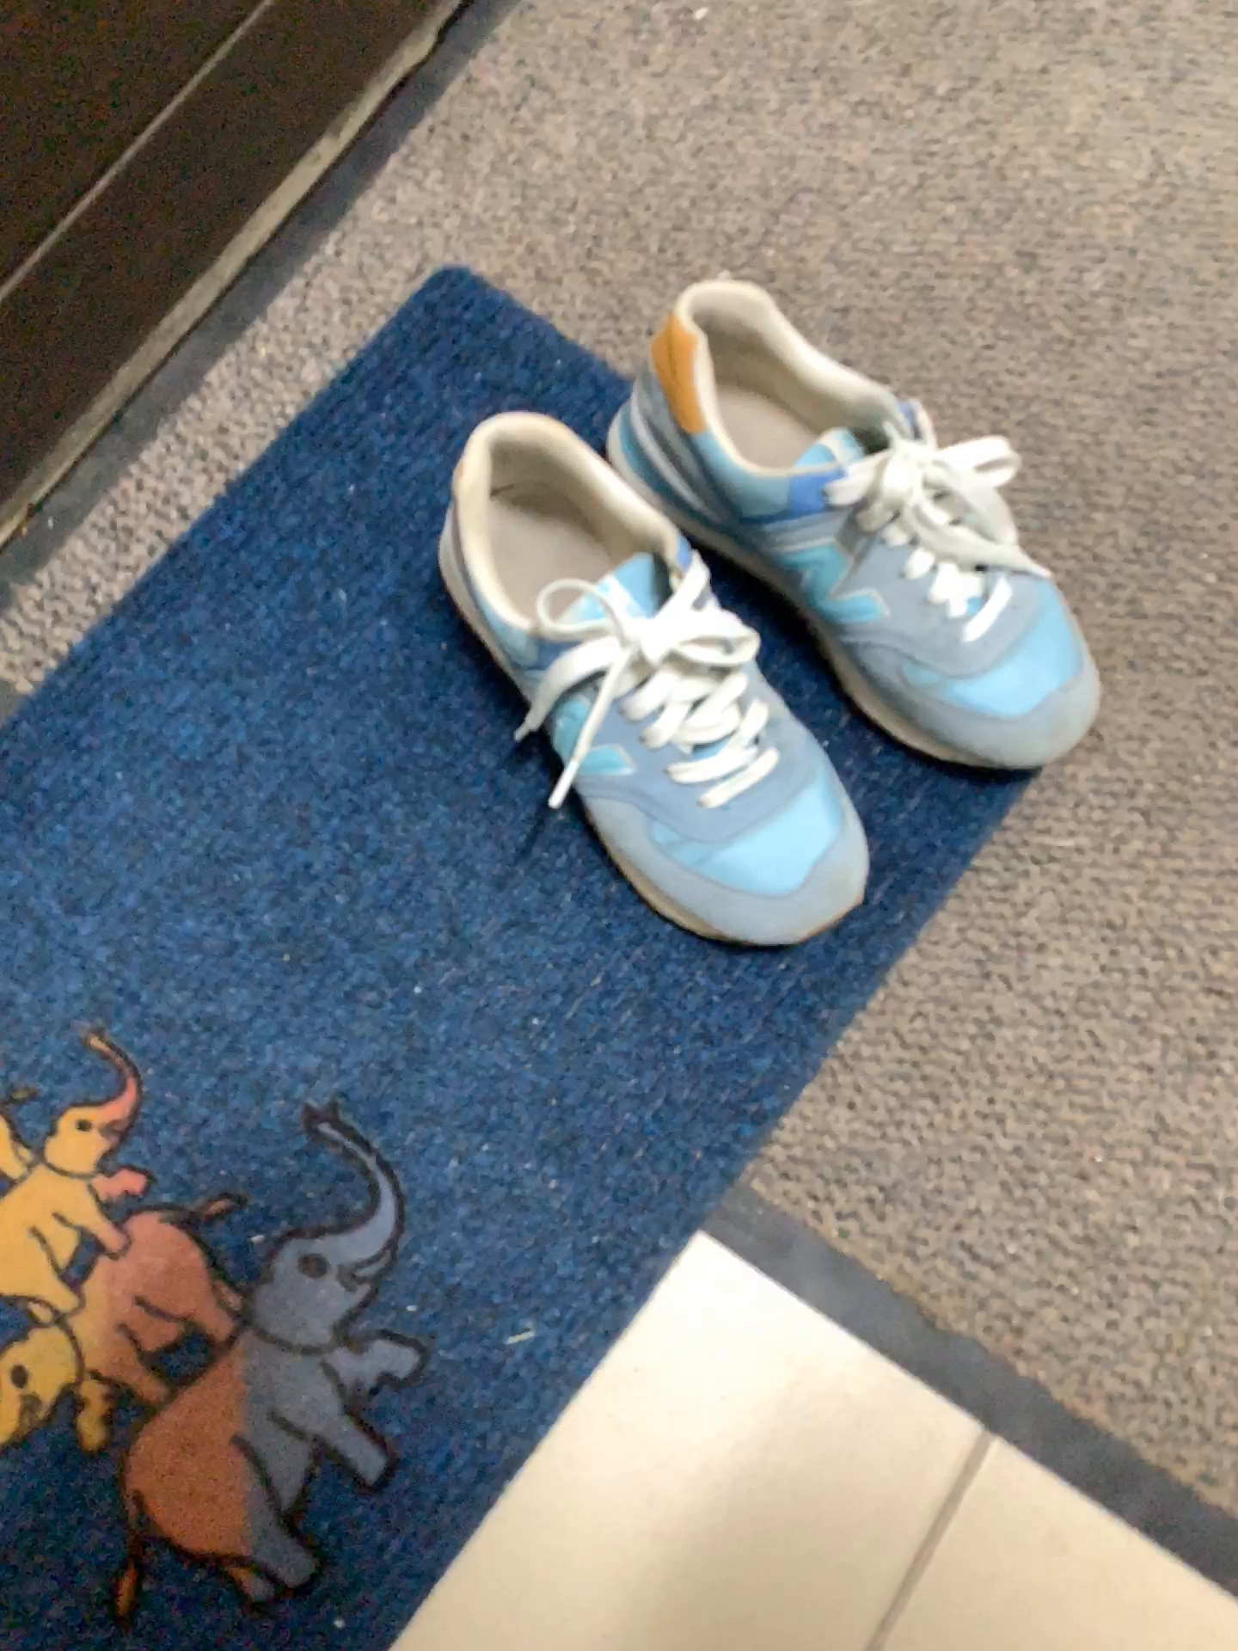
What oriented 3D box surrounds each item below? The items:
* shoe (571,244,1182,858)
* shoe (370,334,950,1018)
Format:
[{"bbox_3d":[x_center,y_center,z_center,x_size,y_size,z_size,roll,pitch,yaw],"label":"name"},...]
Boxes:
[{"bbox_3d":[0.101,-0.115,0.561,0.090,0.120,0.250,-44,80,-7],"label":"shoe"},{"bbox_3d":[0.006,-0.056,0.541,0.080,0.140,0.260,-35,78,-14],"label":"shoe"}]
